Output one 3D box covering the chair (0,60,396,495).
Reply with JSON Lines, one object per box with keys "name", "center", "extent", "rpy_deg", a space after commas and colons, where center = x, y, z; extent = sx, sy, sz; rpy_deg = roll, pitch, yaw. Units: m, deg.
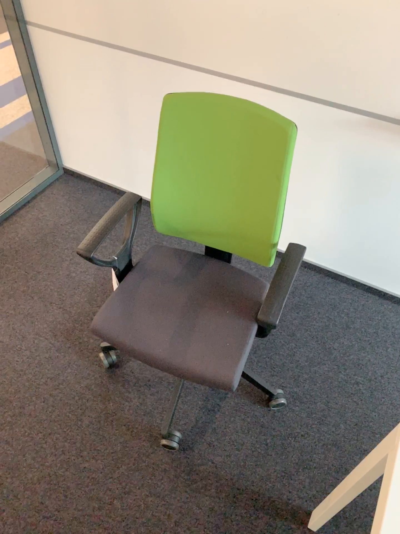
{"name": "chair", "center": [0.005, 0.058, 1.284], "extent": [0.760, 0.965, 0.733], "rpy_deg": [18, 50, 13]}
